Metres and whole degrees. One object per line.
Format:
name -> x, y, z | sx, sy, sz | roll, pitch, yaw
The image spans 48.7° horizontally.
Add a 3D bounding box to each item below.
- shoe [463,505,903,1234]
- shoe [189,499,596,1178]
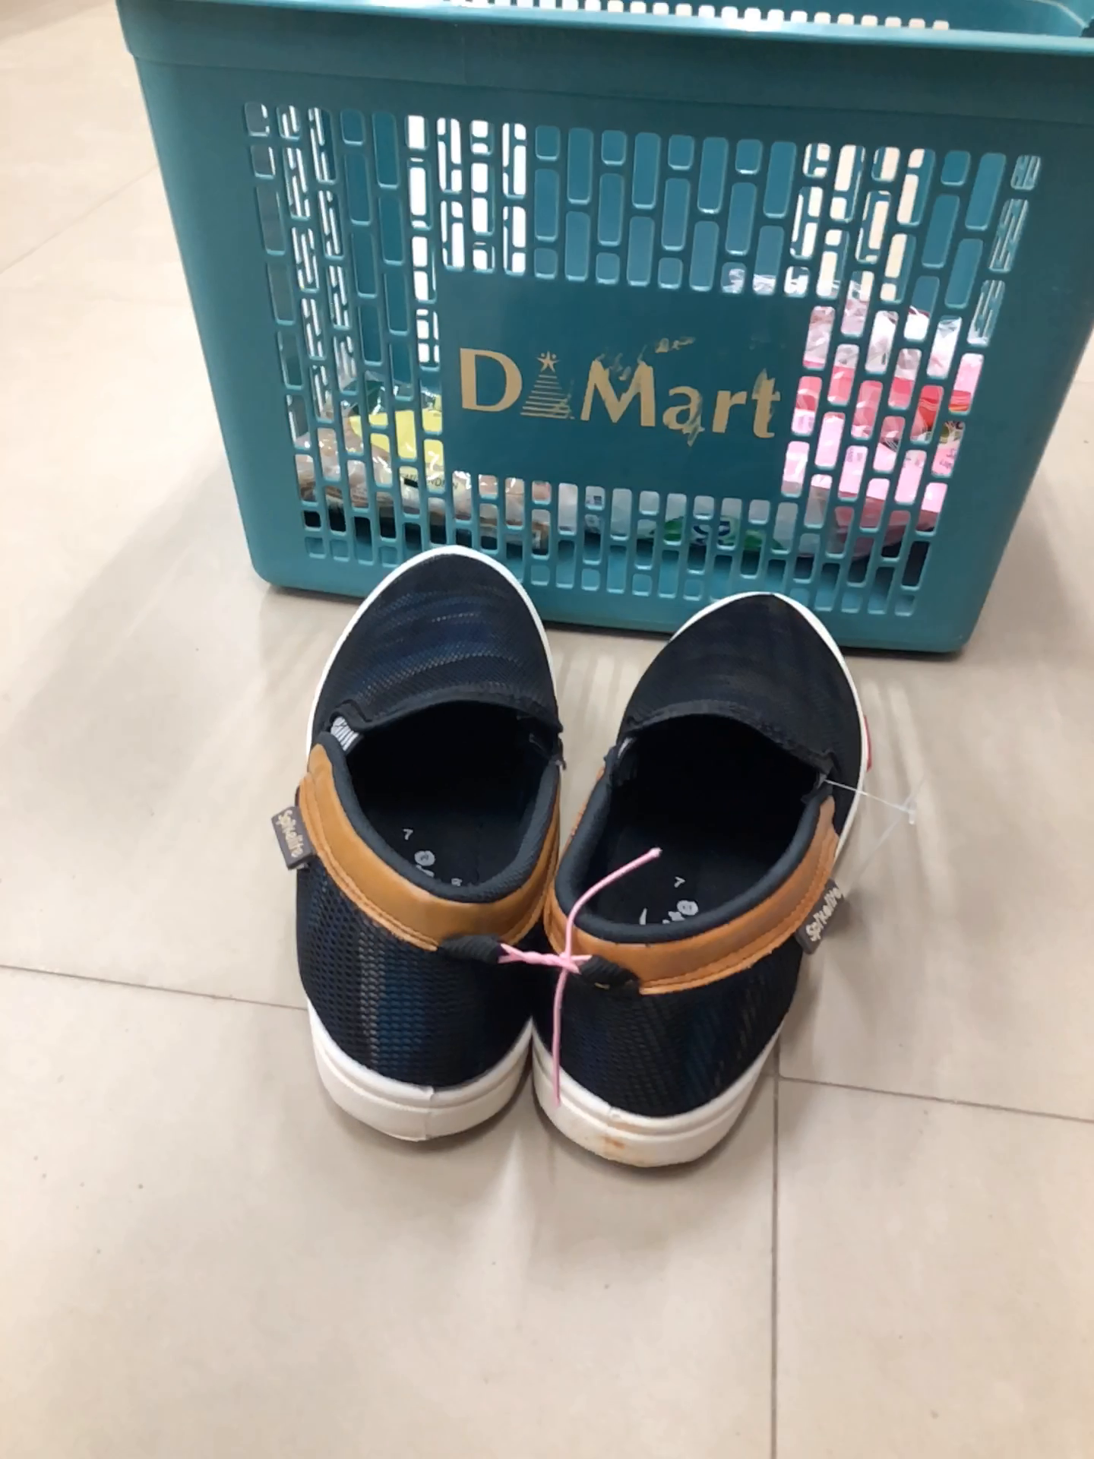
shoe -> 0.059, 0.030, 0.435 | 0.105, 0.107, 0.240 | 11, 40, 11
shoe -> -0.048, 0.022, 0.441 | 0.105, 0.107, 0.240 | -1, 39, -4
